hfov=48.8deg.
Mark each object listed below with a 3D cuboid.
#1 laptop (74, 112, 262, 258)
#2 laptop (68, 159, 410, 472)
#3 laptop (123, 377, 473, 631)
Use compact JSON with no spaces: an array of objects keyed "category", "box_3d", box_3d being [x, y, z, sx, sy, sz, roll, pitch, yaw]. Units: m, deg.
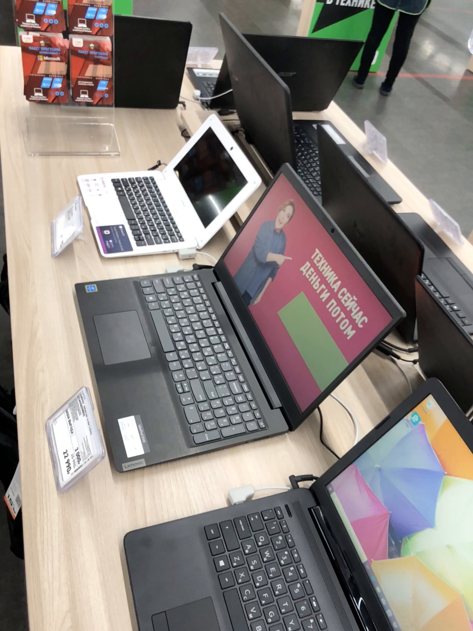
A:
[{"category":"laptop","box_3d":[-0.148,-0.272,1.031,0.289,0.139,0.280,-9,47,-21]},{"category":"laptop","box_3d":[-0.032,-0.029,0.743,0.341,0.212,0.356,-9,47,-20]},{"category":"laptop","box_3d":[0.099,0.286,0.433,0.321,0.206,0.376,-7,46,-19]}]
